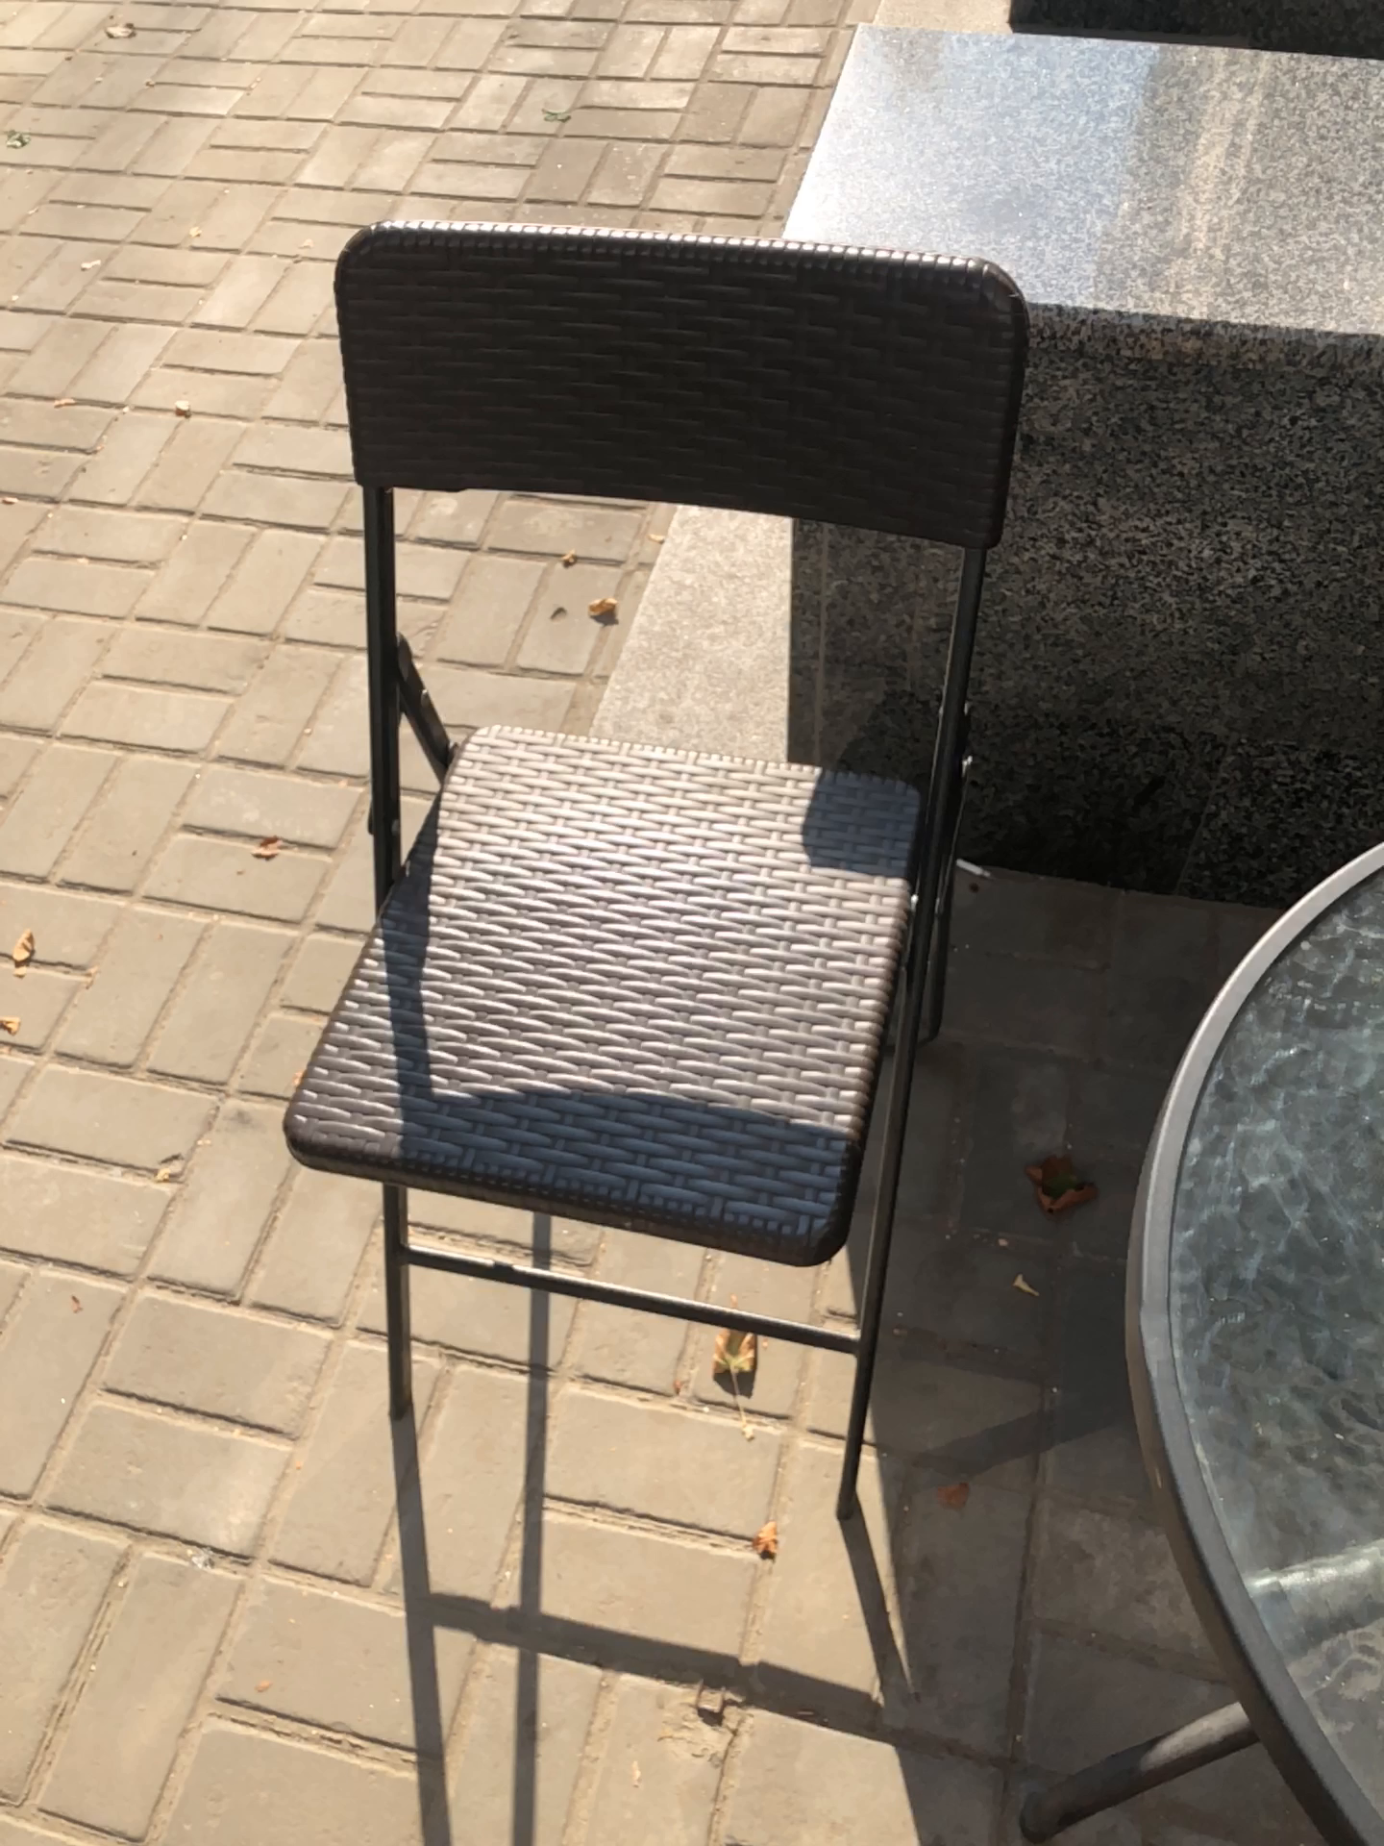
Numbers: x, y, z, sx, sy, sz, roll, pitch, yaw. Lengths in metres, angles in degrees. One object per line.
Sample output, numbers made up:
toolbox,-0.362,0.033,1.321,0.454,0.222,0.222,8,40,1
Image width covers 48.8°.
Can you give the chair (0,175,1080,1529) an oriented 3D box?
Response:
chair,-0.044,0.006,1.041,0.450,0.748,0.511,9,55,9
